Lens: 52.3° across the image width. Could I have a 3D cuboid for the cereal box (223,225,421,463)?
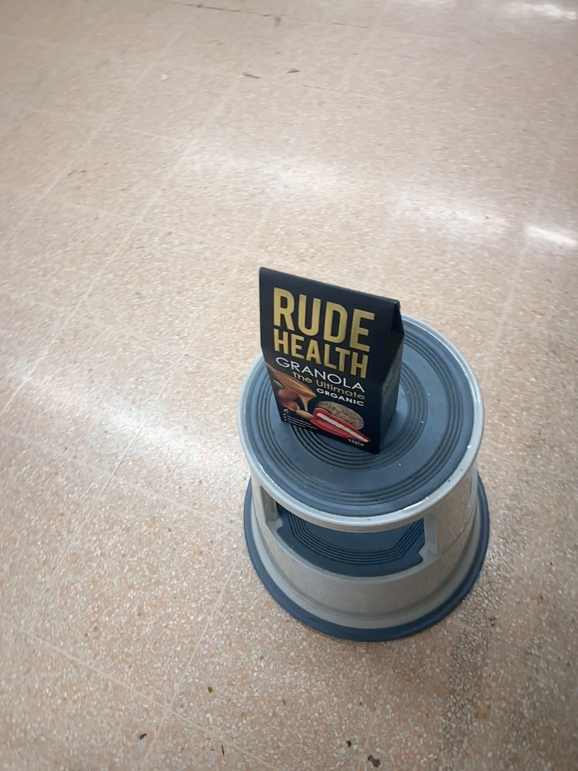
[{"bbox_3d":[0.041,-0.024,0.577,0.140,0.258,0.070,19,66,17],"label":"cereal box"}]
